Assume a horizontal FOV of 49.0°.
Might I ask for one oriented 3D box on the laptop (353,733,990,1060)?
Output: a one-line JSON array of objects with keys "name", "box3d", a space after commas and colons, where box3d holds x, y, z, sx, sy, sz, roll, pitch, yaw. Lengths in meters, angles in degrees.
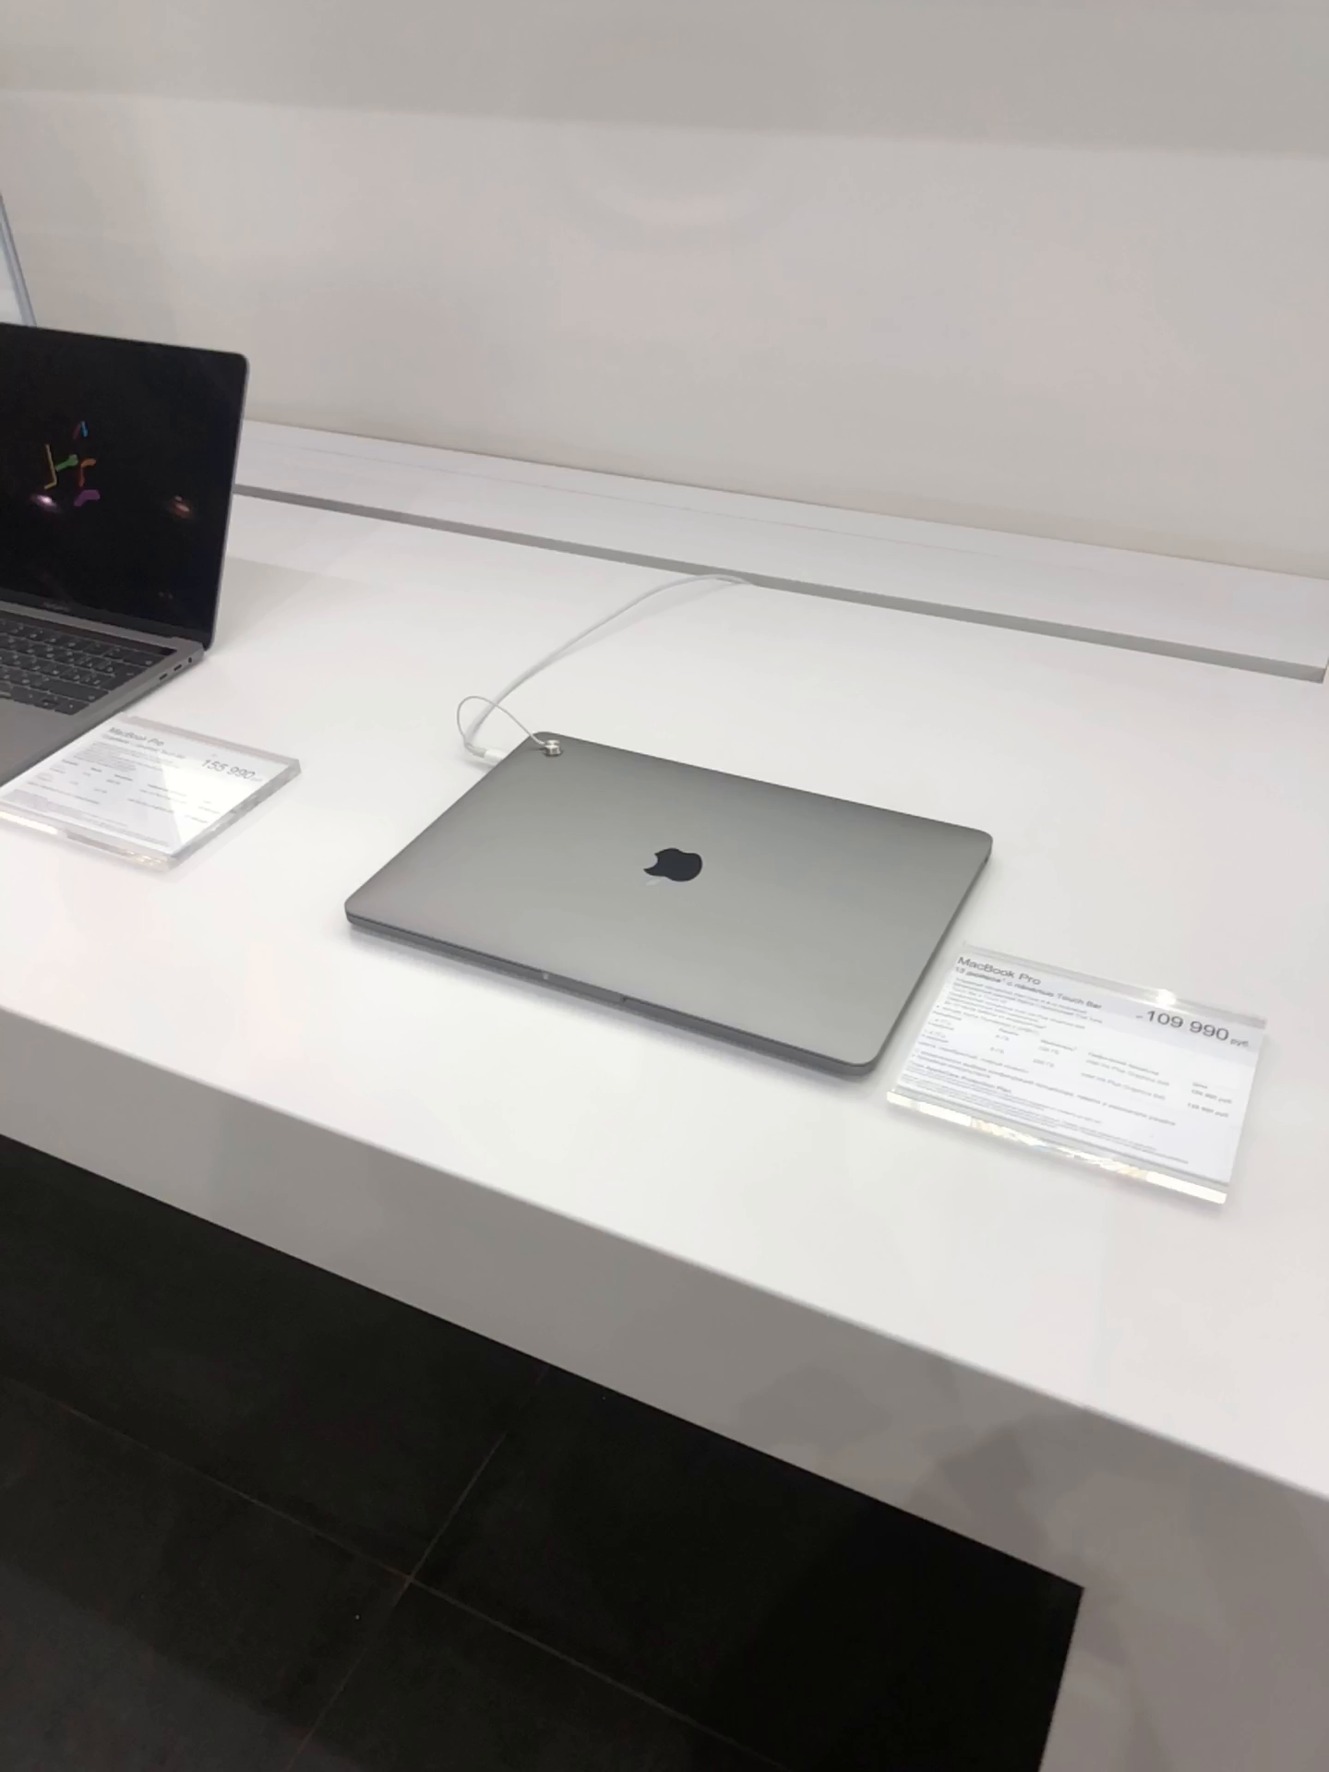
[{"name": "laptop", "box3d": [0.007, -0.009, 0.803, 0.293, 0.001, 0.199, 15, 39, 22]}]
